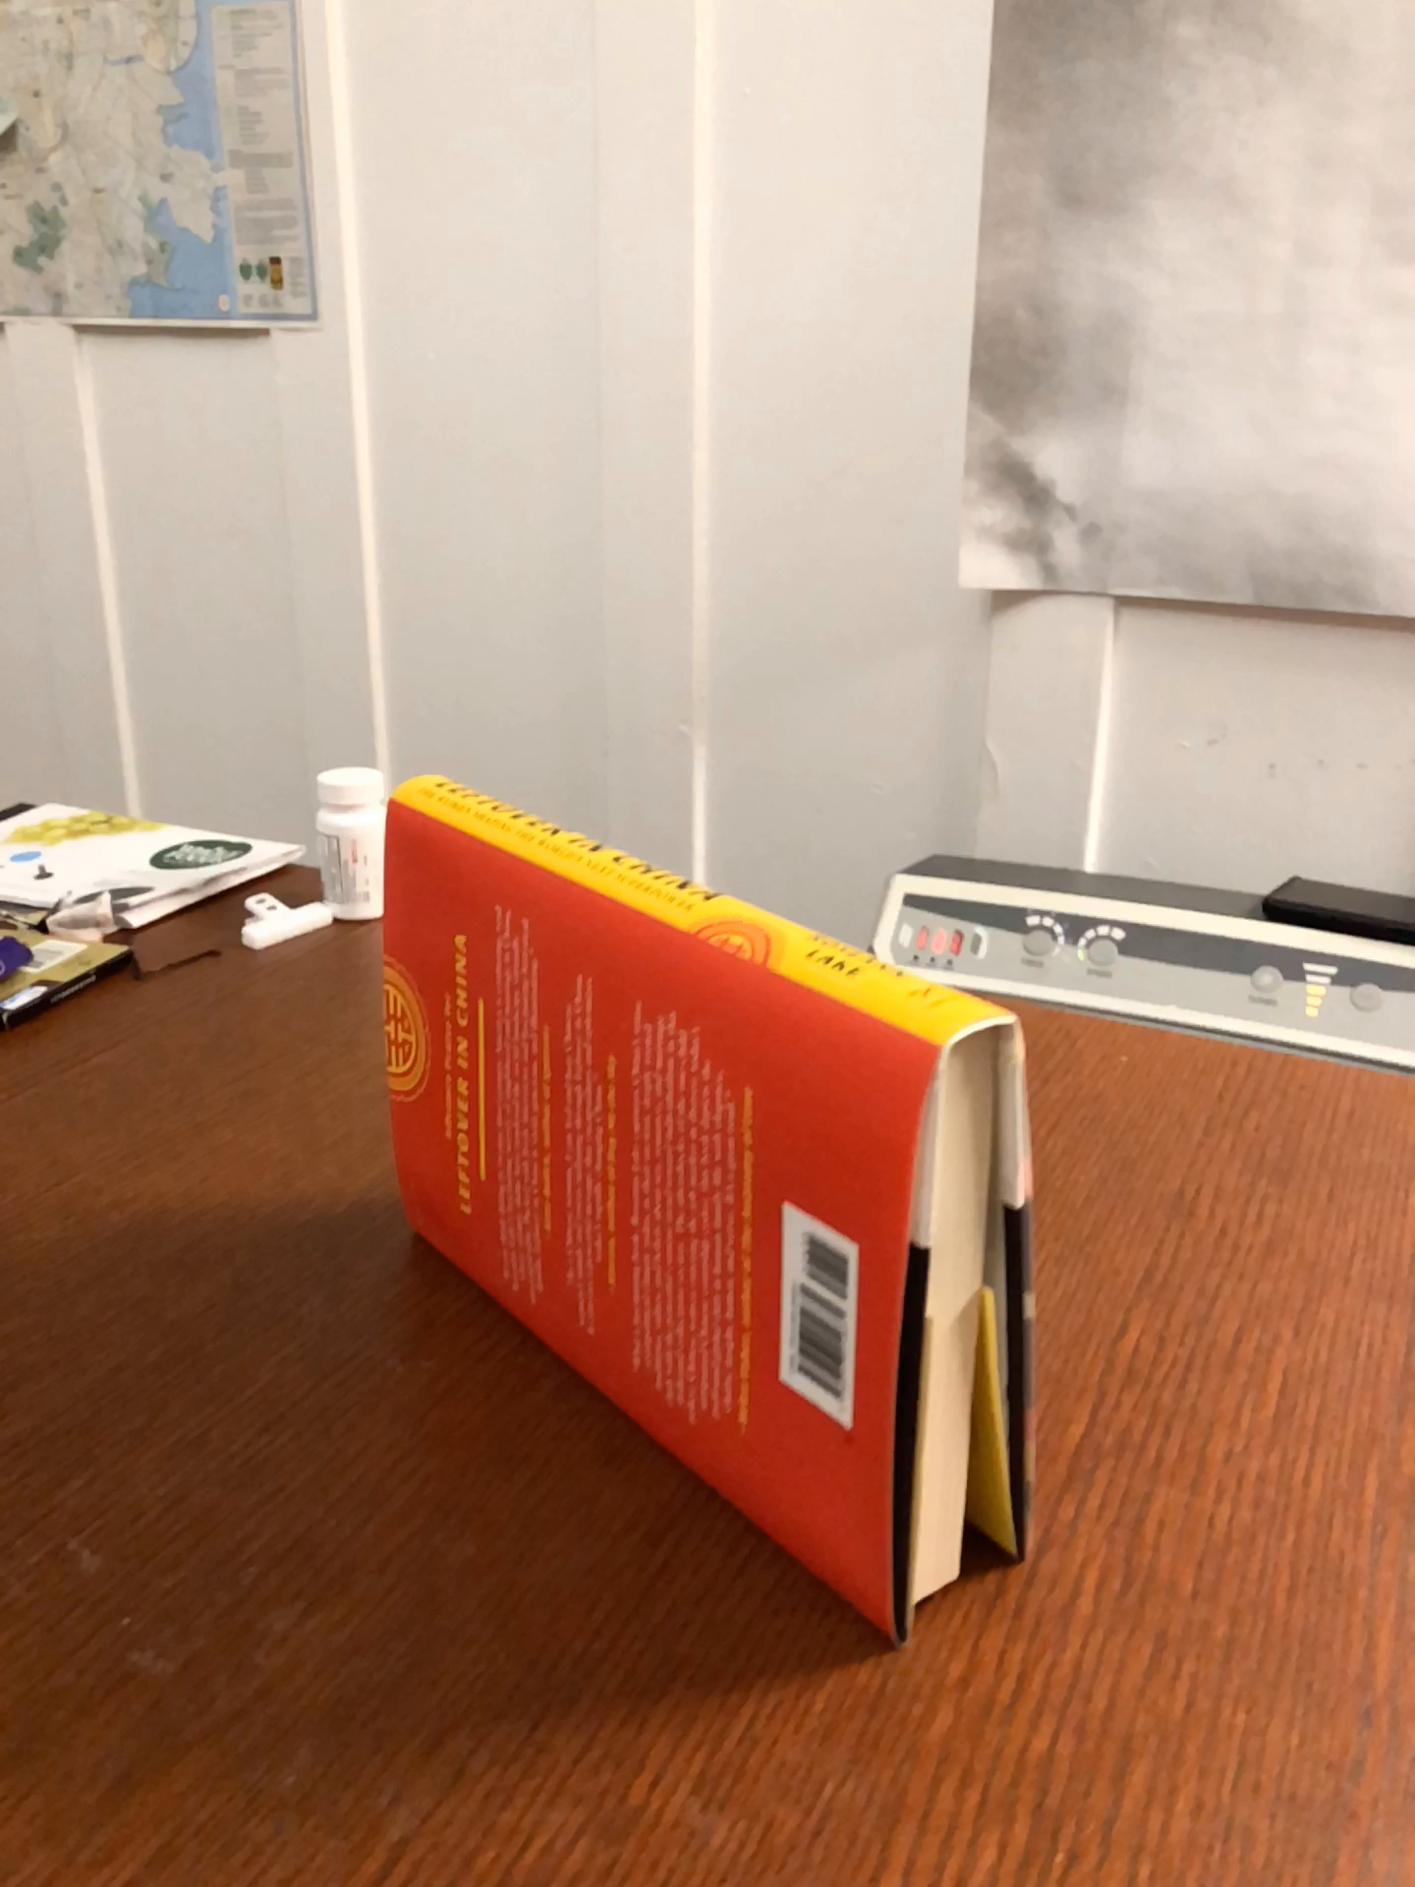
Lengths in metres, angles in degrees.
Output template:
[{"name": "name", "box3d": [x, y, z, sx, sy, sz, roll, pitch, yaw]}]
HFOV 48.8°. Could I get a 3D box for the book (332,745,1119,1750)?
[{"name": "book", "box3d": [-0.016, 0.060, 0.446, 0.060, 0.179, 0.261, -14, 25, -36]}]
